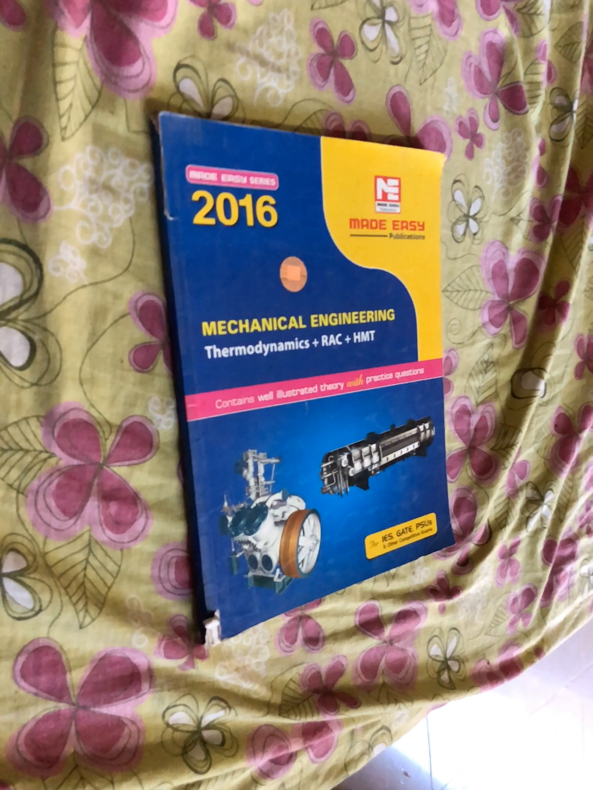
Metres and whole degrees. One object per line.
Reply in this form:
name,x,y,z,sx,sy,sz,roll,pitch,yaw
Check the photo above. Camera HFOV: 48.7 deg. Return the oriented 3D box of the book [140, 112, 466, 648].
book,0.019,-0.014,0.396,0.201,0.030,0.270,-9,99,-35
